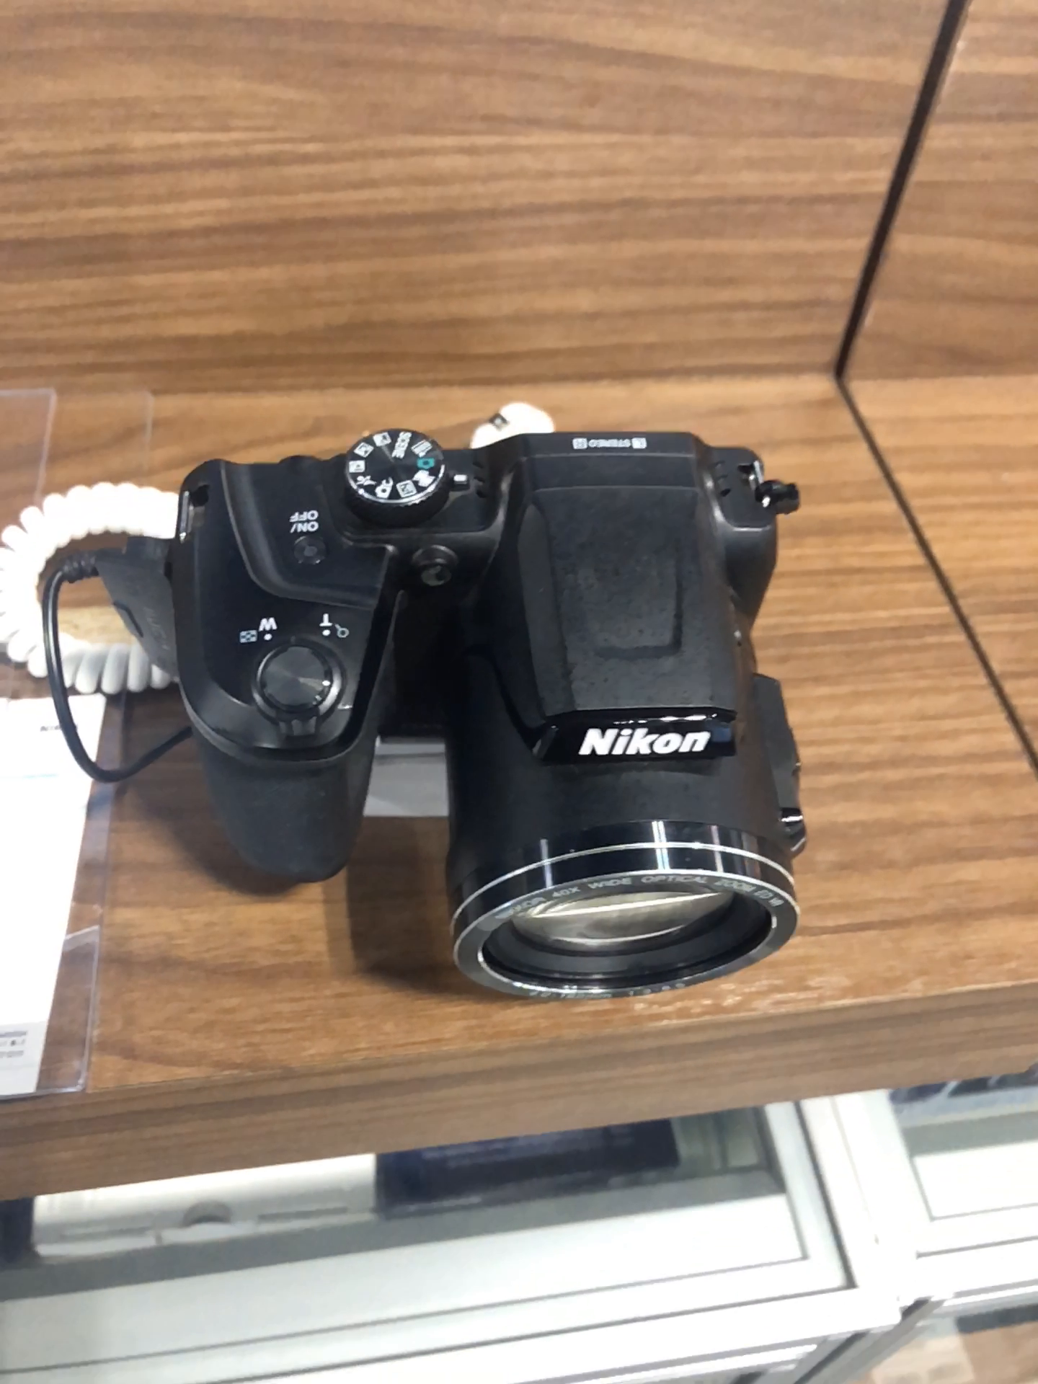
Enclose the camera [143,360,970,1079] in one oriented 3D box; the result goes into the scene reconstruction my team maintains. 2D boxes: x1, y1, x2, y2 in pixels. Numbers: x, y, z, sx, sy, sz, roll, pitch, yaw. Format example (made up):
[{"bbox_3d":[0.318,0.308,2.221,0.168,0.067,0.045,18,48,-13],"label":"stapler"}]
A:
[{"bbox_3d":[-0.002,0.002,0.212,0.110,0.079,0.096,-3,50,-8],"label":"camera"}]
